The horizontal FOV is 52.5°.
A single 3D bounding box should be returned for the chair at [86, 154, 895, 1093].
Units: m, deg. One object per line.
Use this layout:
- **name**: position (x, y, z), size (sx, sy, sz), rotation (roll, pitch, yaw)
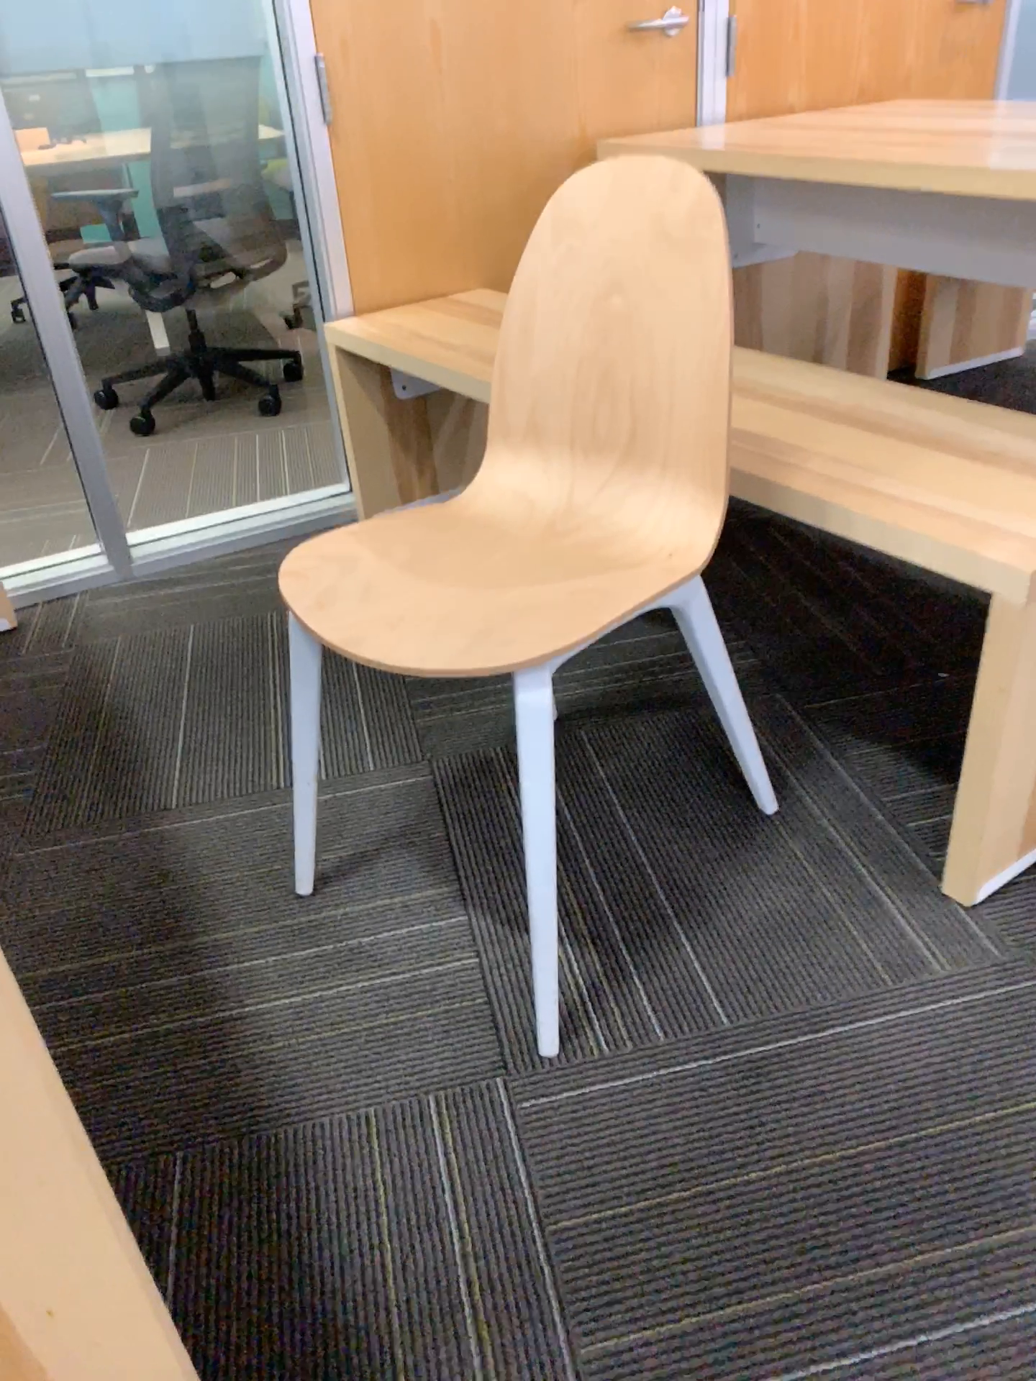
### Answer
- **chair**: position (0.013, -0.137, 1.257), size (0.542, 0.834, 0.601), rotation (22, 41, 37)
